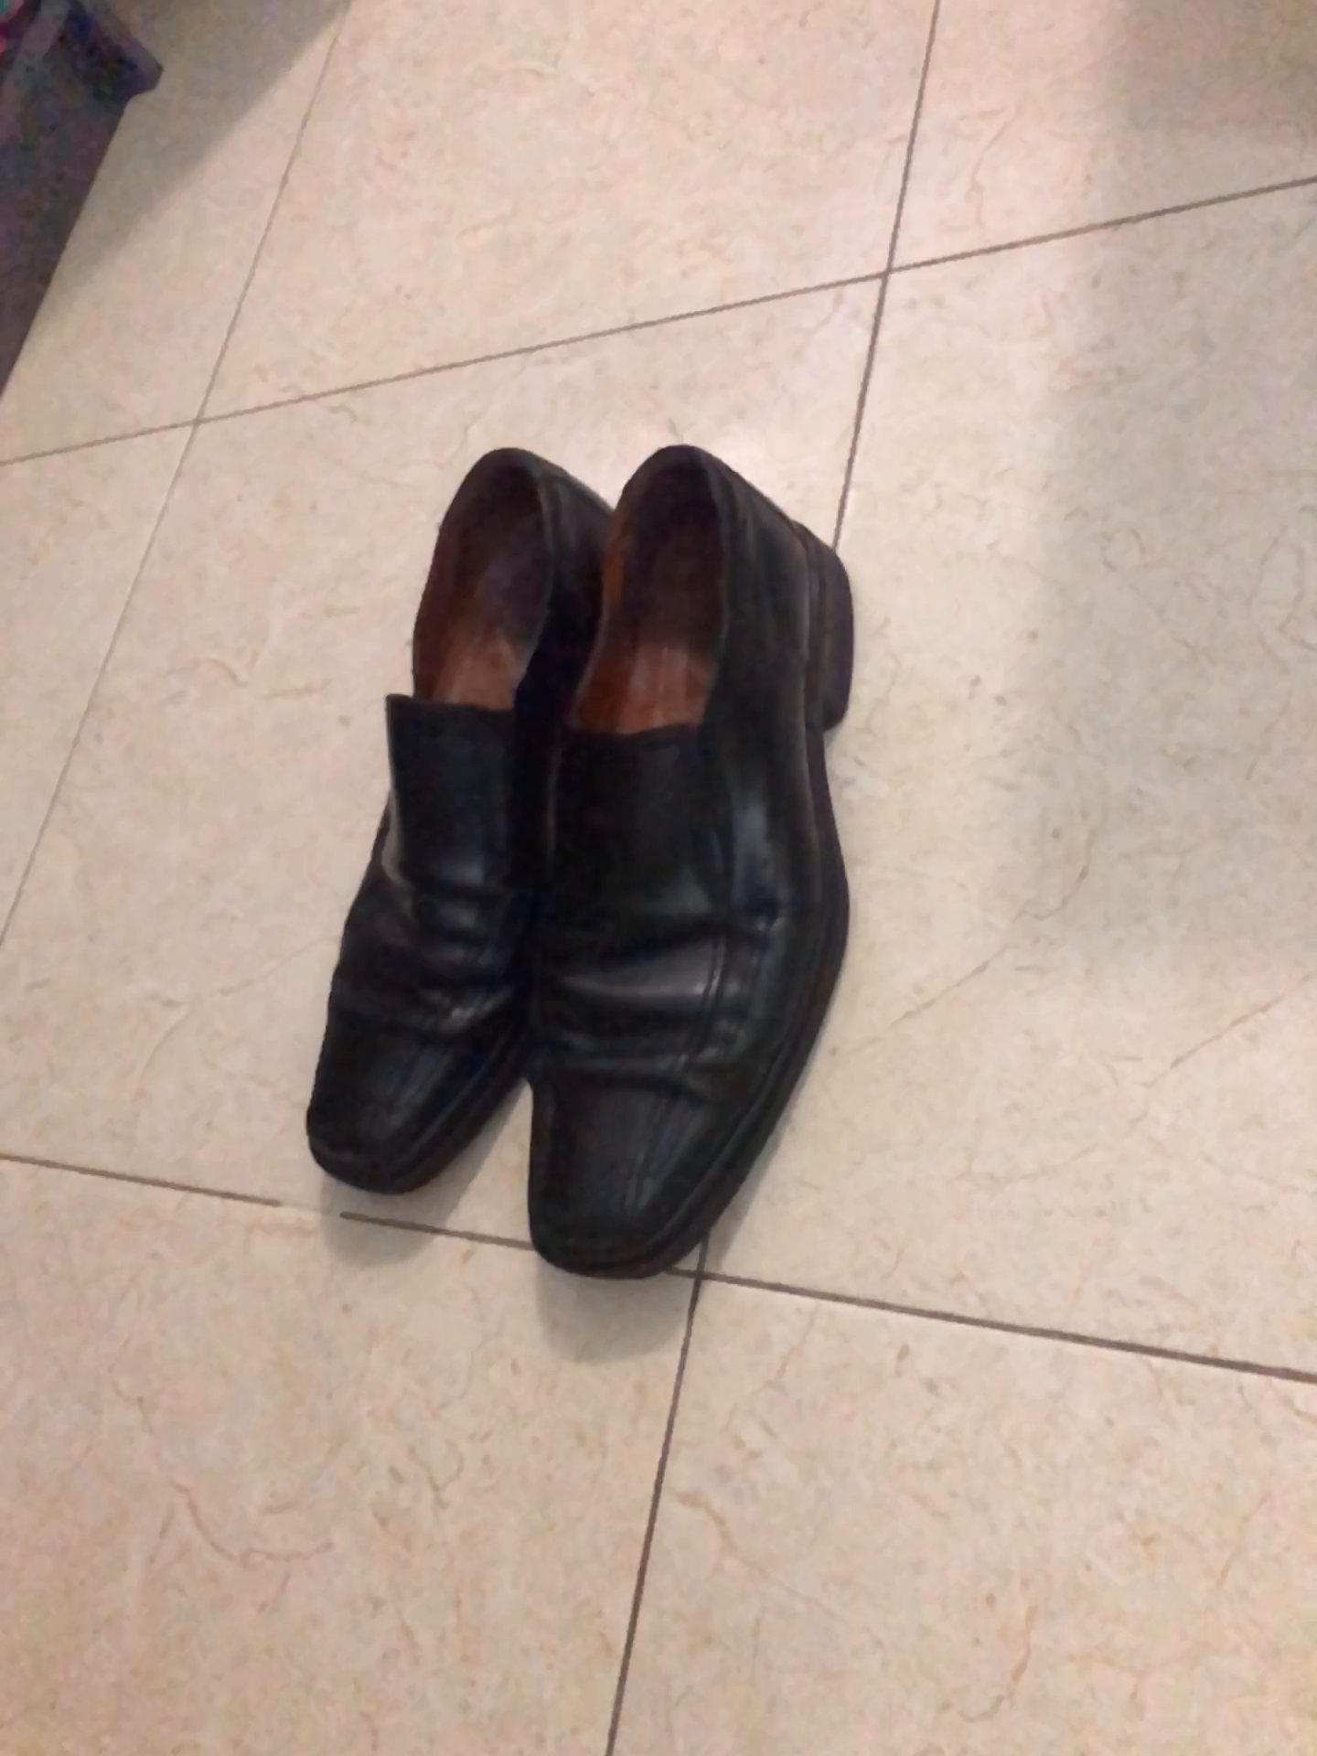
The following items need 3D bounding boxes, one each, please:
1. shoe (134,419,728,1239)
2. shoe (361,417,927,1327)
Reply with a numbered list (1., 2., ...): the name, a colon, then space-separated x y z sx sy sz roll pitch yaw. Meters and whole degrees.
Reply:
1. shoe: -0.084 -0.027 0.597 0.120 0.090 0.310 6 70 33
2. shoe: 0.005 -0.008 0.543 0.120 0.090 0.310 1 68 31
